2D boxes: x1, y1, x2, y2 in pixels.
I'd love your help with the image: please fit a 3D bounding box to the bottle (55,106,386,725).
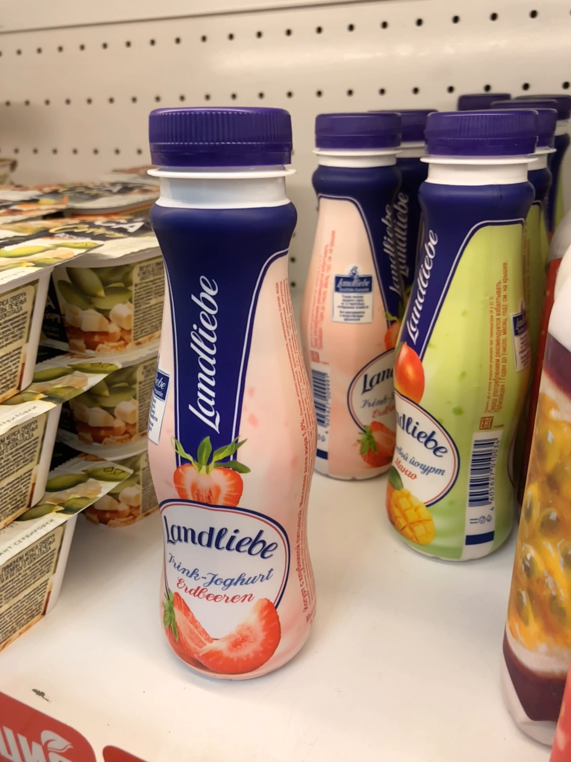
[{"bbox_3d":[-0.012,0.009,0.220,0.070,0.189,0.070,-1,22,1],"label":"bottle"}]
